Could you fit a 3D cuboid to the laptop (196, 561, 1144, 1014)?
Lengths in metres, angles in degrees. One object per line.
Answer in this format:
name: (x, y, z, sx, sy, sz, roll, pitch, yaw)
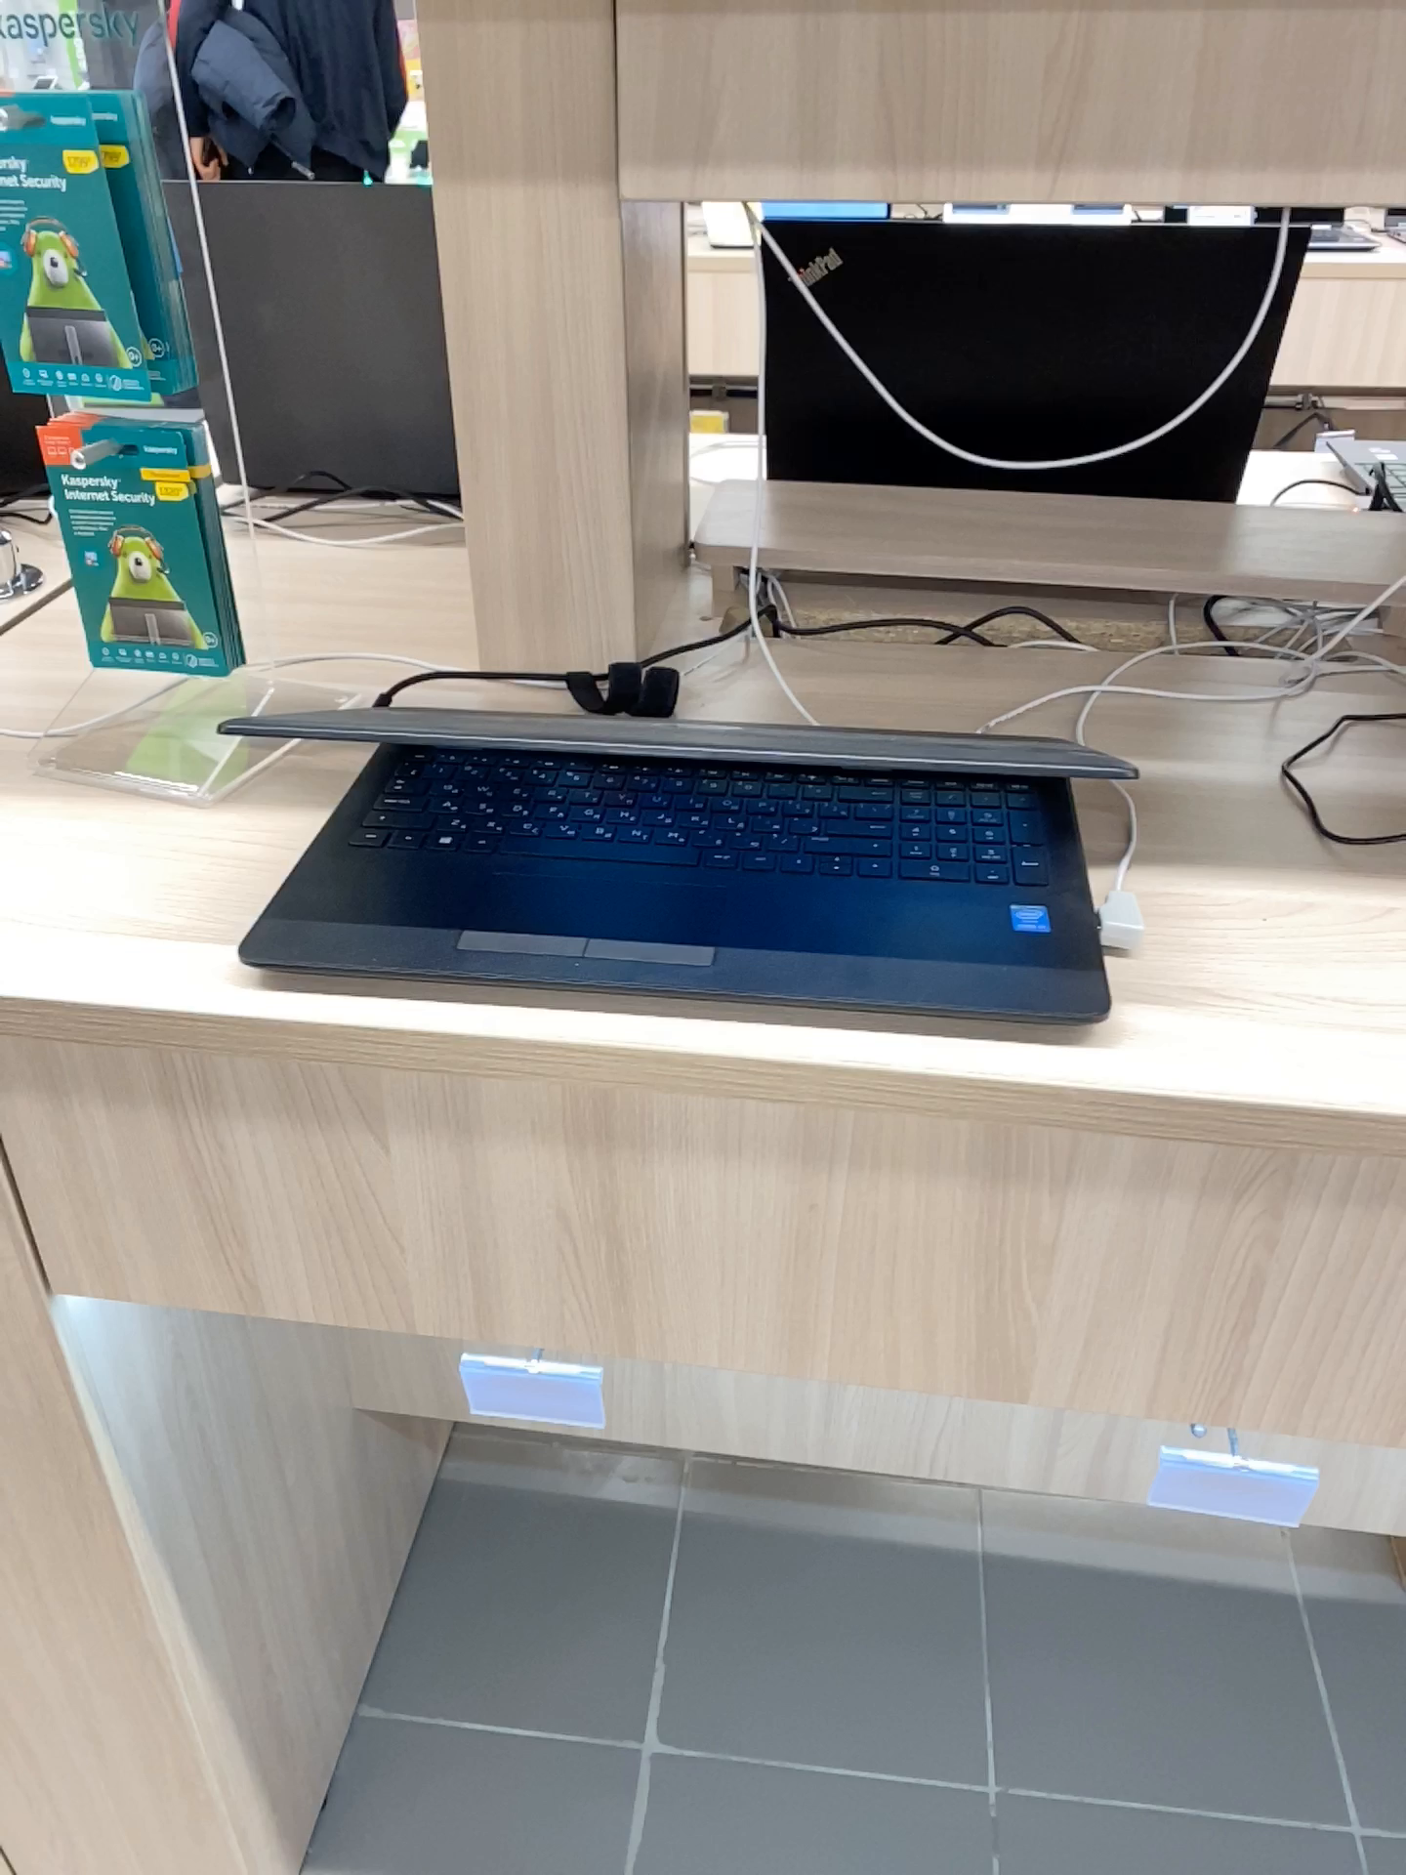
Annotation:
laptop: (-0.004, -0.088, 0.687, 0.373, 0.093, 0.252, 4, 33, 6)
